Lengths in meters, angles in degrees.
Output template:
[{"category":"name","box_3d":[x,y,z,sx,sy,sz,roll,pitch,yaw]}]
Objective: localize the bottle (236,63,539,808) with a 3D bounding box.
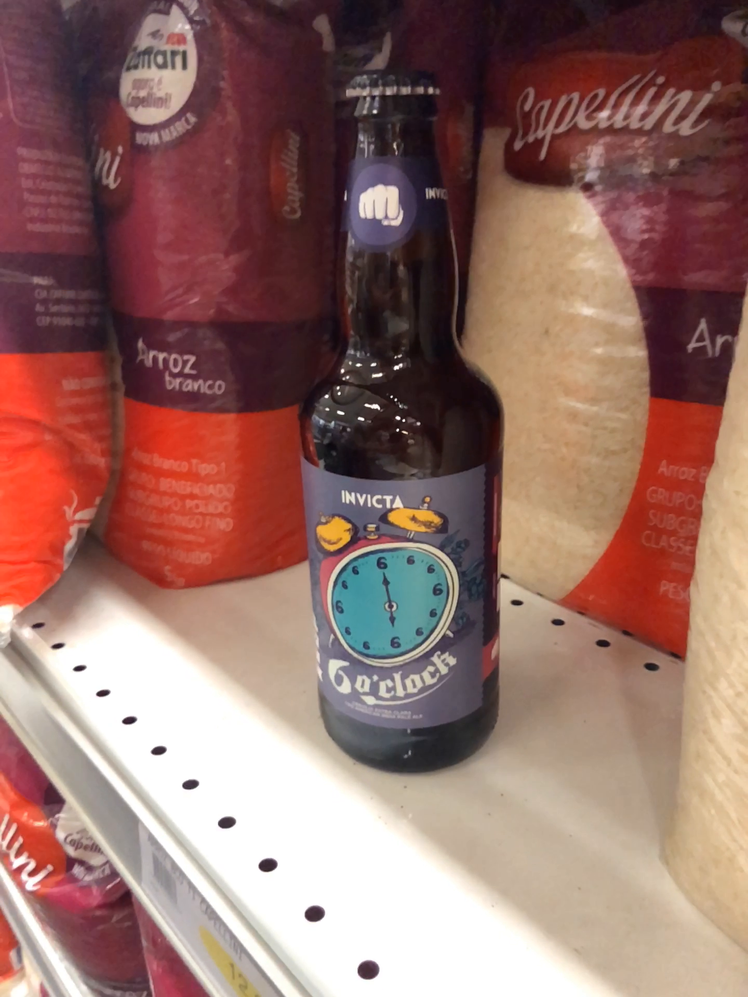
[{"category":"bottle","box_3d":[0.012,-0.015,0.282,0.070,0.228,0.070,-2,24,1]}]
